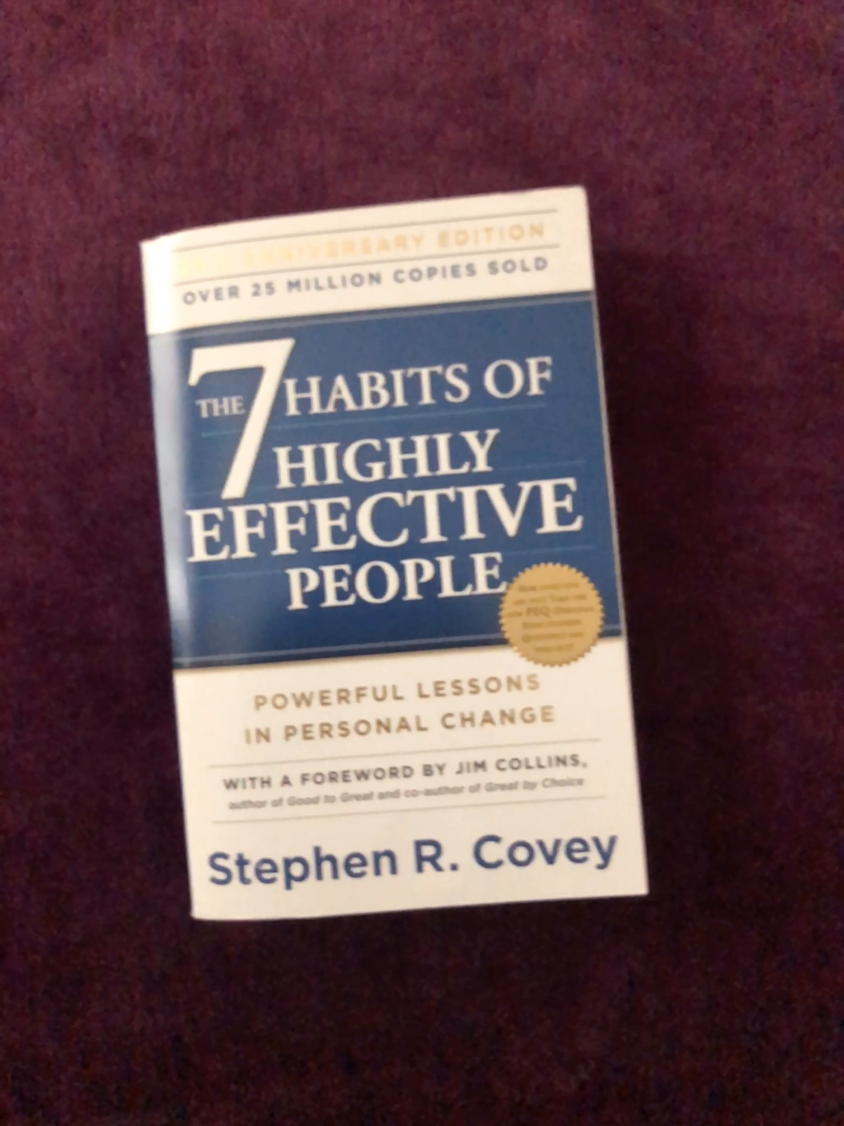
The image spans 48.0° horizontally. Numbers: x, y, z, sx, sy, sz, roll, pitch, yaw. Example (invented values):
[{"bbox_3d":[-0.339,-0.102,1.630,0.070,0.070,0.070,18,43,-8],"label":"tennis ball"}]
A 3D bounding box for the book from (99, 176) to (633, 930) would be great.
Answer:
[{"bbox_3d":[-0.017,-0.001,0.301,0.146,0.029,0.217,-4,90,3],"label":"book"}]
